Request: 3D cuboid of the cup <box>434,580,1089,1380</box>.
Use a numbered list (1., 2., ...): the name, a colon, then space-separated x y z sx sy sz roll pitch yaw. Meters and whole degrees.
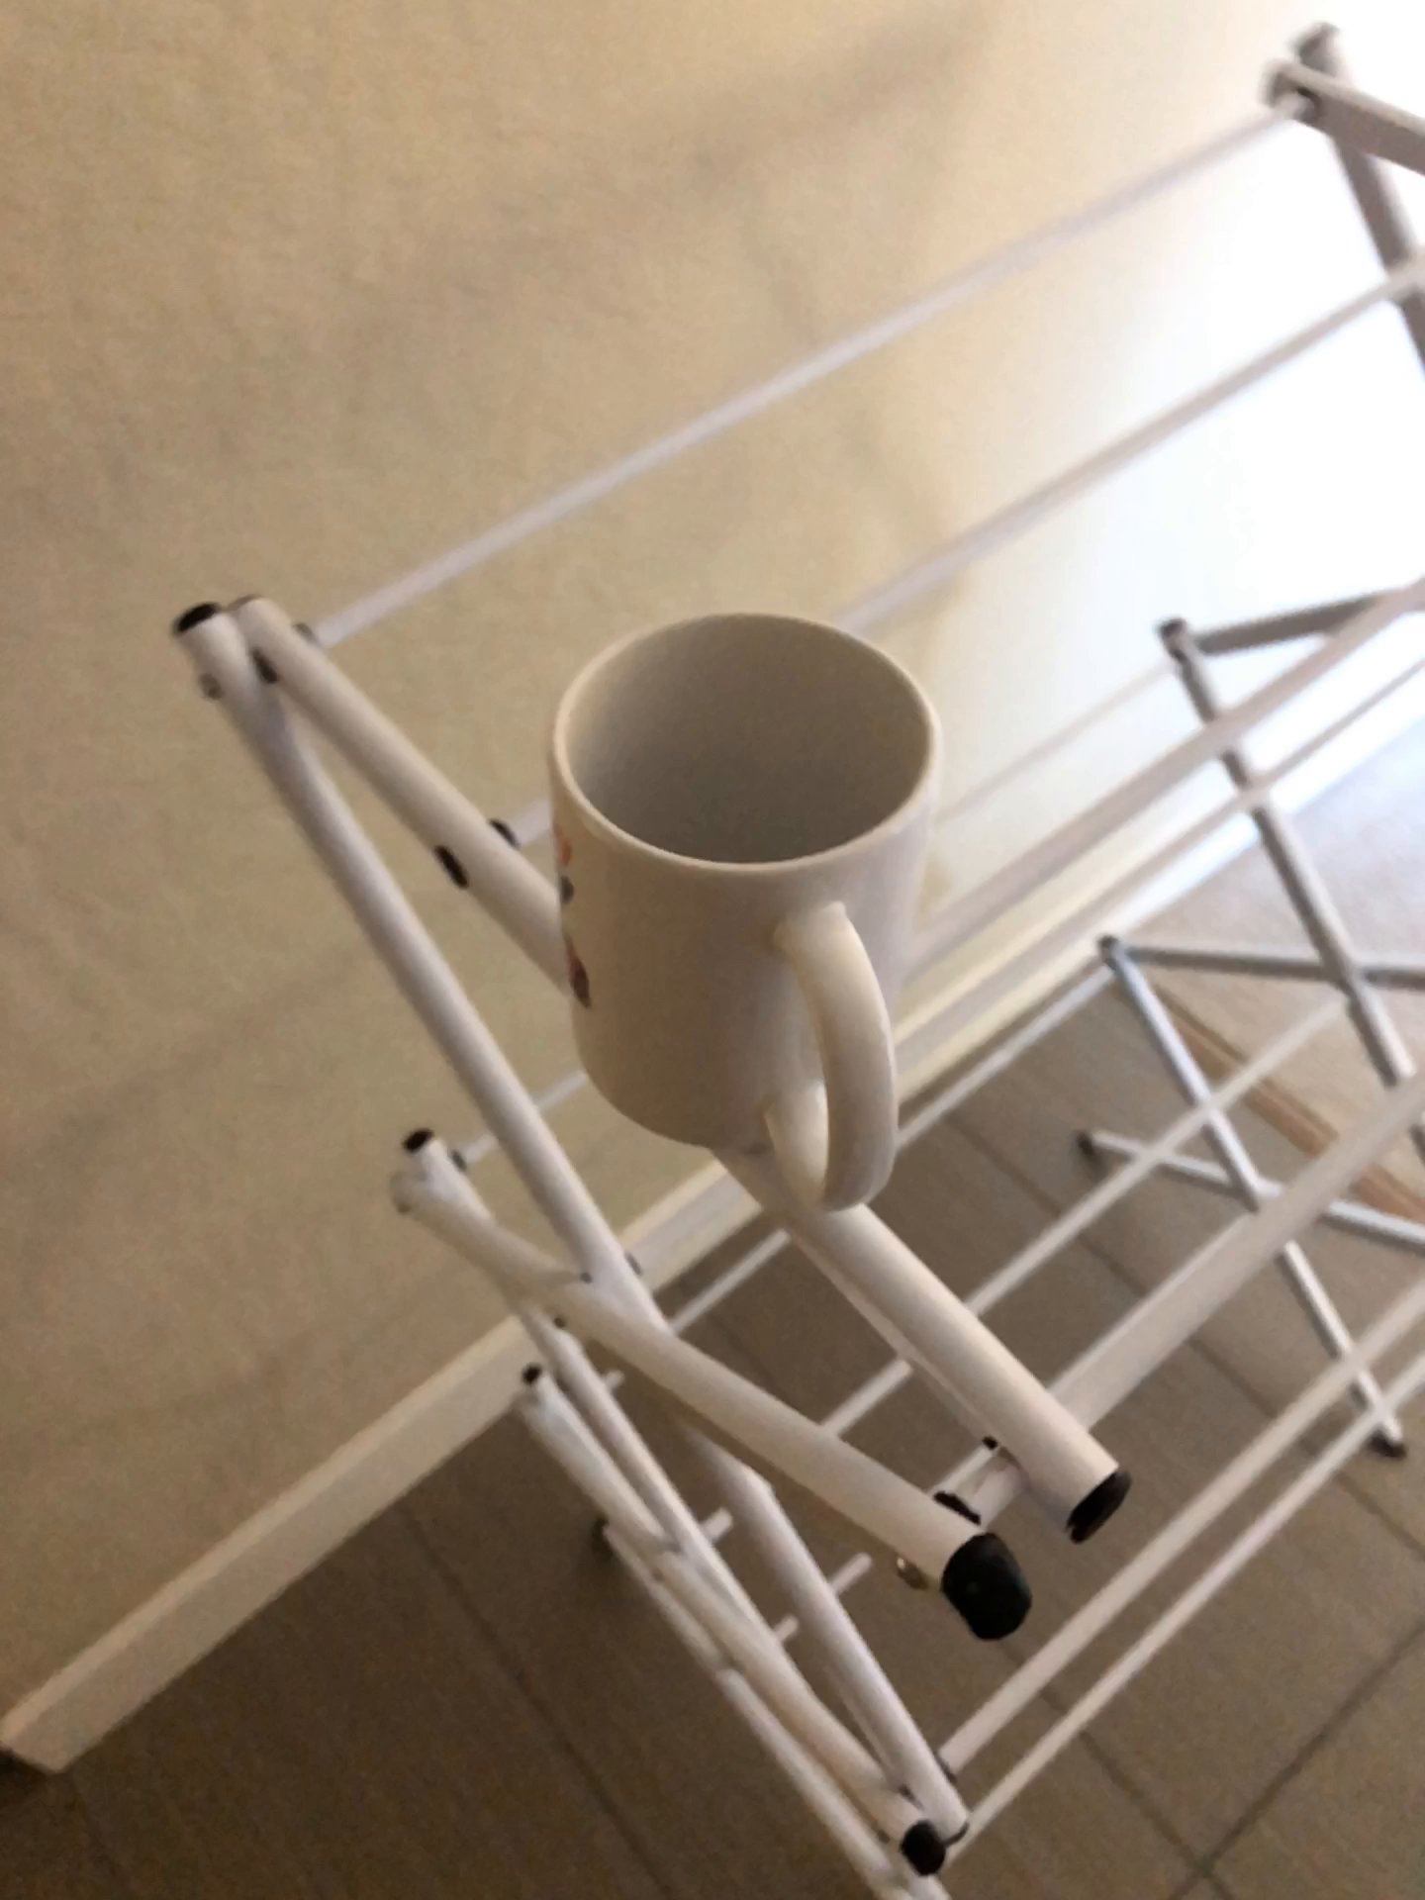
1. cup: 0.003 0.002 0.349 0.090 0.090 0.130 -14 50 -12
